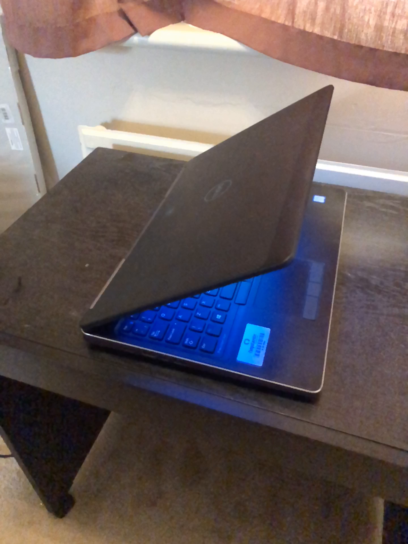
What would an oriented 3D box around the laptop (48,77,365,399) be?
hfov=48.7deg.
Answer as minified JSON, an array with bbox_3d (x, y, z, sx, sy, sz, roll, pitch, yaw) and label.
[{"bbox_3d":[0.037,-0.081,0.518,0.243,0.134,0.364,12,43,14],"label":"laptop"}]
